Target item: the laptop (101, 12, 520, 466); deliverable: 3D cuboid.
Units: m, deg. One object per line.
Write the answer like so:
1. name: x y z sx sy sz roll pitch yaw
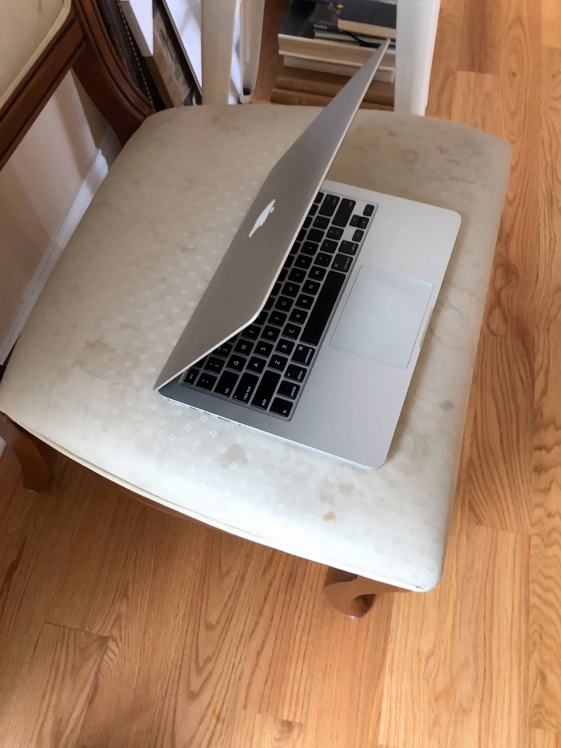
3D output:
1. laptop: 0.038 -0.122 0.540 0.218 0.183 0.310 18 63 11
